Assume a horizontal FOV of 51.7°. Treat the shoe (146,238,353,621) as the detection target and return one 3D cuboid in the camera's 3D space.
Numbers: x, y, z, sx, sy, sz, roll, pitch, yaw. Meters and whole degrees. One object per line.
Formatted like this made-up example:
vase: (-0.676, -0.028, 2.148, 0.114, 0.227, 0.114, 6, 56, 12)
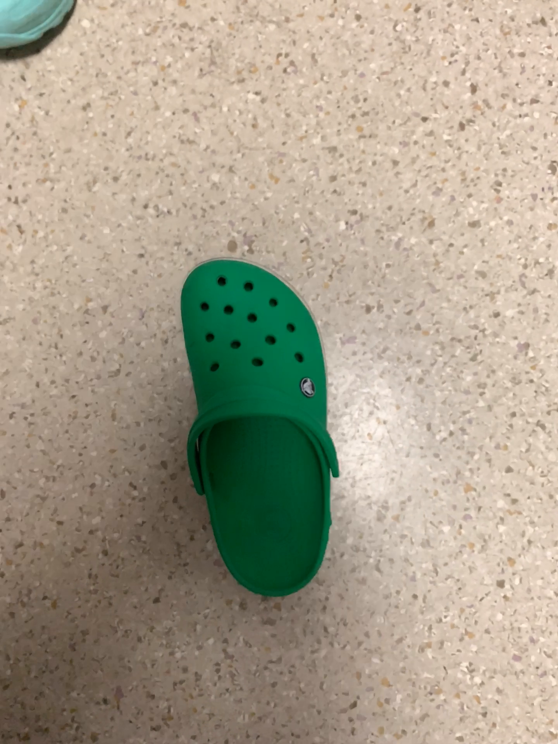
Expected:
shoe: (-0.018, 0.037, 0.410, 0.108, 0.082, 0.234, -7, 86, 3)
